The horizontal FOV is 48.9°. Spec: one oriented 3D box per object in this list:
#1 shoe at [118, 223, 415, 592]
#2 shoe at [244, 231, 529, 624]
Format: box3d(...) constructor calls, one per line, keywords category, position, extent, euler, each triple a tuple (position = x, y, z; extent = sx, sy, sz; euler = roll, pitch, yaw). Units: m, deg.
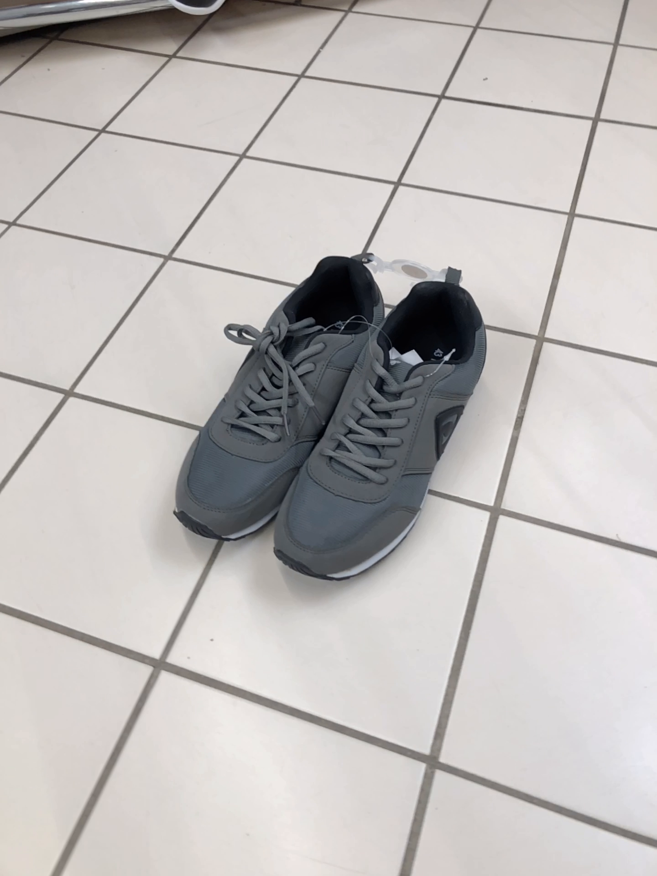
box3d(category="shoe", position=(-0.032, -0.038, 0.589), extent=(0.100, 0.099, 0.292), euler=(20, 56, 16))
box3d(category="shoe", position=(0.056, -0.022, 0.558), extent=(0.100, 0.099, 0.292), euler=(20, 56, 16))
